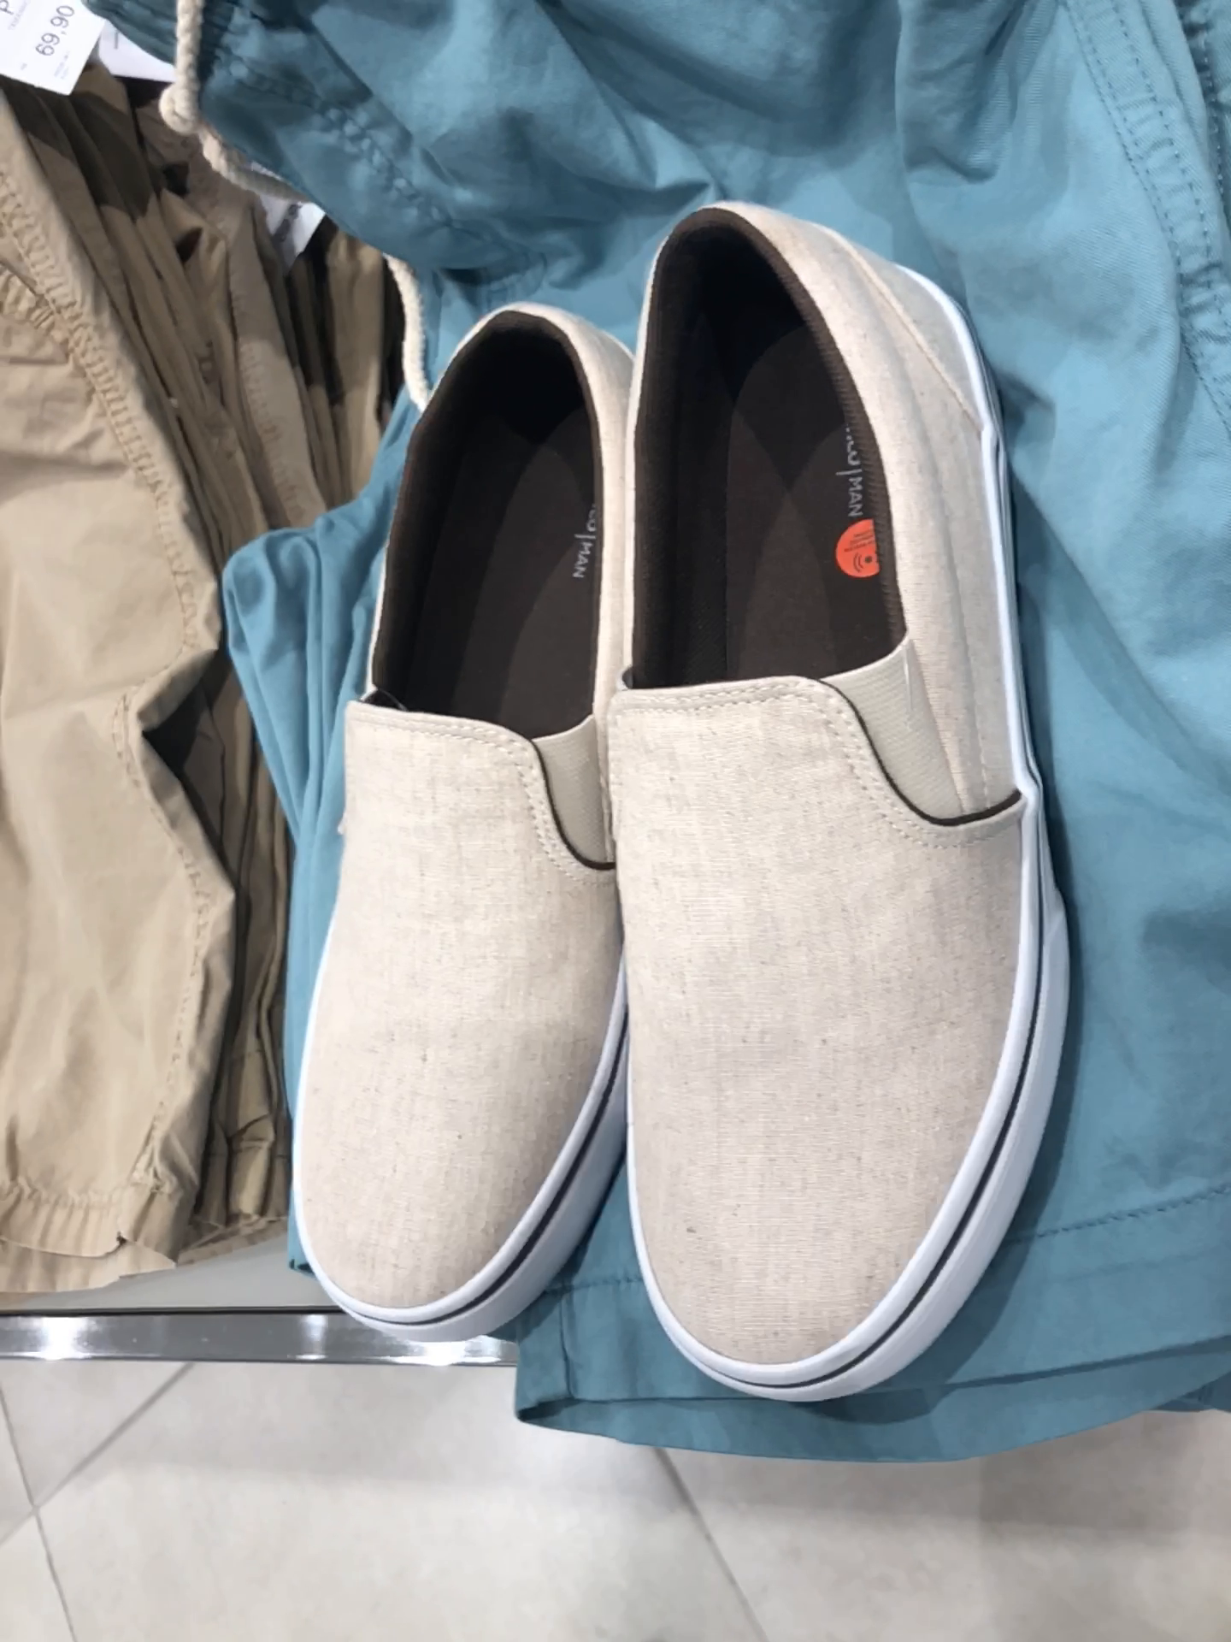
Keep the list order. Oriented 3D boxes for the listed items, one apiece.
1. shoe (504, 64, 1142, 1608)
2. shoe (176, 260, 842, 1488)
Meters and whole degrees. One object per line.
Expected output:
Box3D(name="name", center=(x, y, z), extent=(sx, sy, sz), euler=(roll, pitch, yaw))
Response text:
Box3D(name="shoe", center=(0.048, 0.001, 0.293), extent=(0.100, 0.090, 0.260), euler=(-3, 82, 32))
Box3D(name="shoe", center=(-0.024, 0.009, 0.352), extent=(0.100, 0.090, 0.260), euler=(6, 87, 34))
